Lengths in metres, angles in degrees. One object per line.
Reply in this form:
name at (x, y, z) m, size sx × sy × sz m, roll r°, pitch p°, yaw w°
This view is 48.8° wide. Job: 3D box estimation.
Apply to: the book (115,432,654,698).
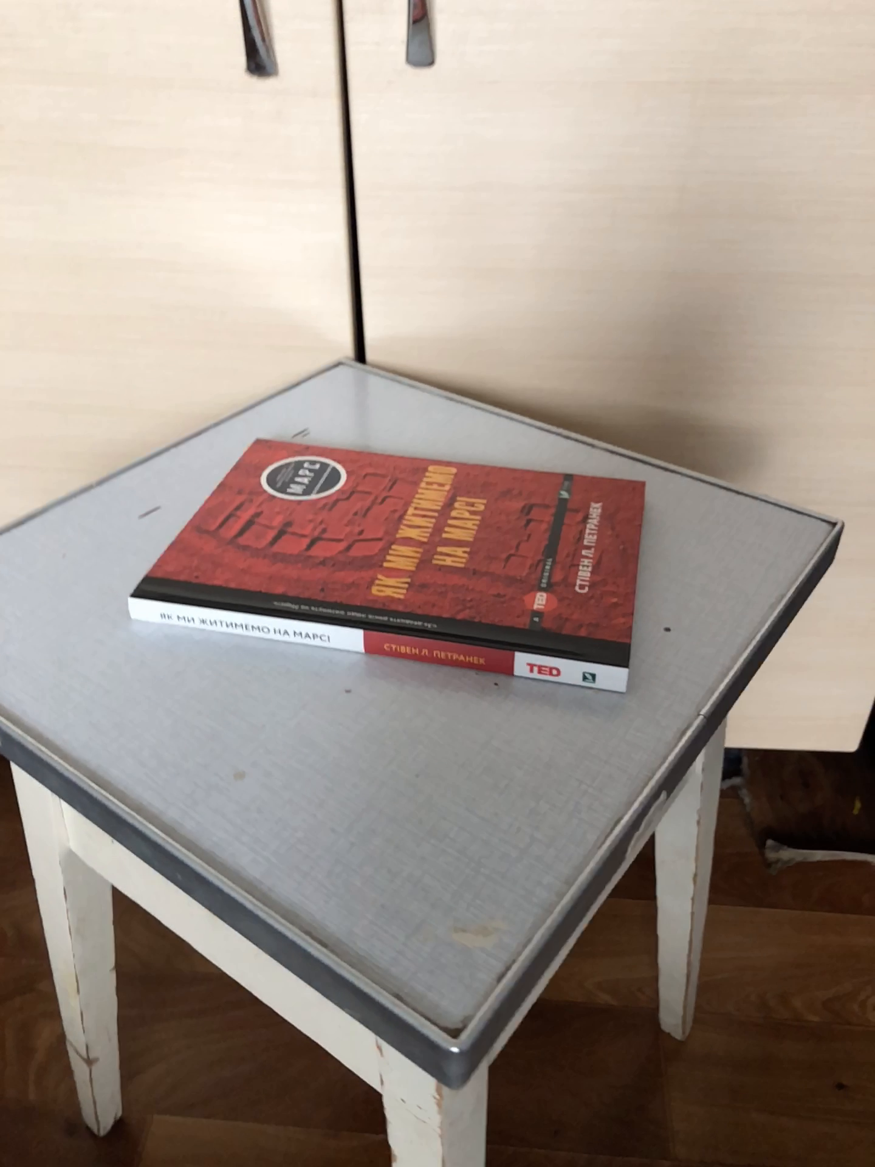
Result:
book at (-0.013, -0.018, 0.443) m, size 0.213 × 0.015 × 0.147 m, roll 8°, pitch 37°, yaw 11°
